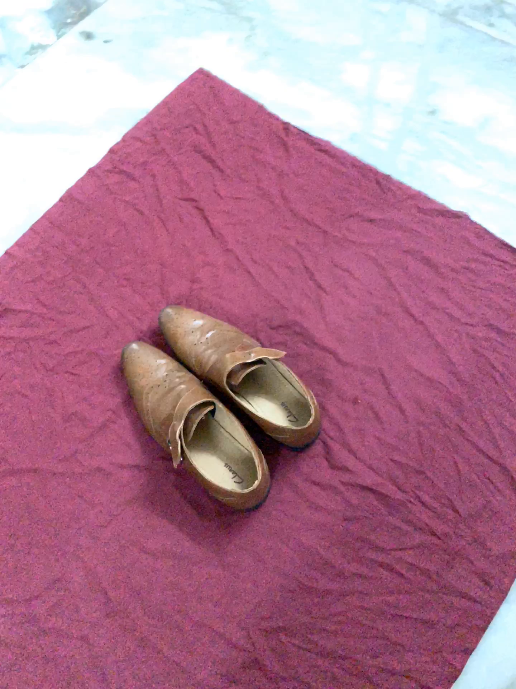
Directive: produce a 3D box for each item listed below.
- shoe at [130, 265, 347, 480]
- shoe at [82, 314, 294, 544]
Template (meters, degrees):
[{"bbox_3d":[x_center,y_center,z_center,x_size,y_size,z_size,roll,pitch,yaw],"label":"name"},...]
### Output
[{"bbox_3d":[-0.031,0.034,0.726,0.301,0.090,0.100,42,74,18],"label":"shoe"},{"bbox_3d":[-0.096,0.111,0.722,0.100,0.090,0.311,-40,70,-14],"label":"shoe"}]
